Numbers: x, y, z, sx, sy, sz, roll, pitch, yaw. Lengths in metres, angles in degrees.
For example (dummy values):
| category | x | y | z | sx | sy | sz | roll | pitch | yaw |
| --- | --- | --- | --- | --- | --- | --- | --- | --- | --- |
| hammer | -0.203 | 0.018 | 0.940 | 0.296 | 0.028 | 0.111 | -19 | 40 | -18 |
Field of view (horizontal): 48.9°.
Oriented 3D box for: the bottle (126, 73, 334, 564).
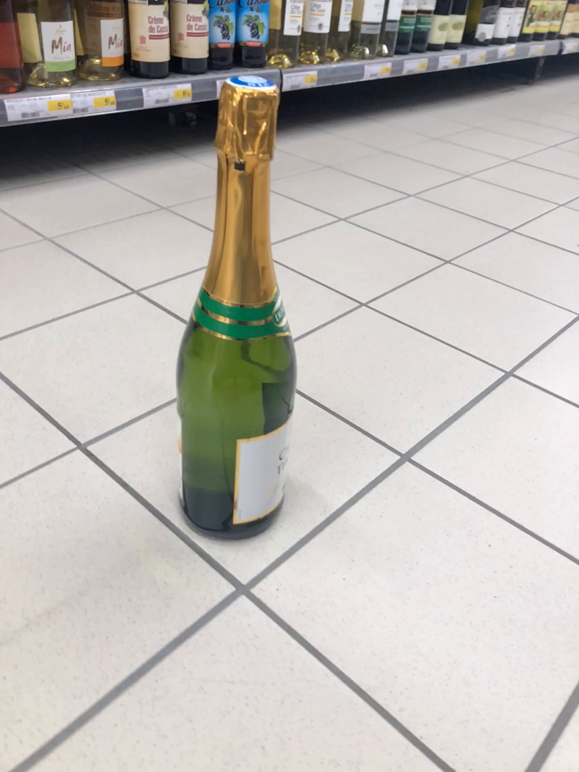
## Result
| category | x | y | z | sx | sy | sz | roll | pitch | yaw |
| --- | --- | --- | --- | --- | --- | --- | --- | --- | --- |
| bottle | -0.038 | -0.028 | 0.413 | 0.090 | 0.298 | 0.091 | 4 | 34 | -3 |
